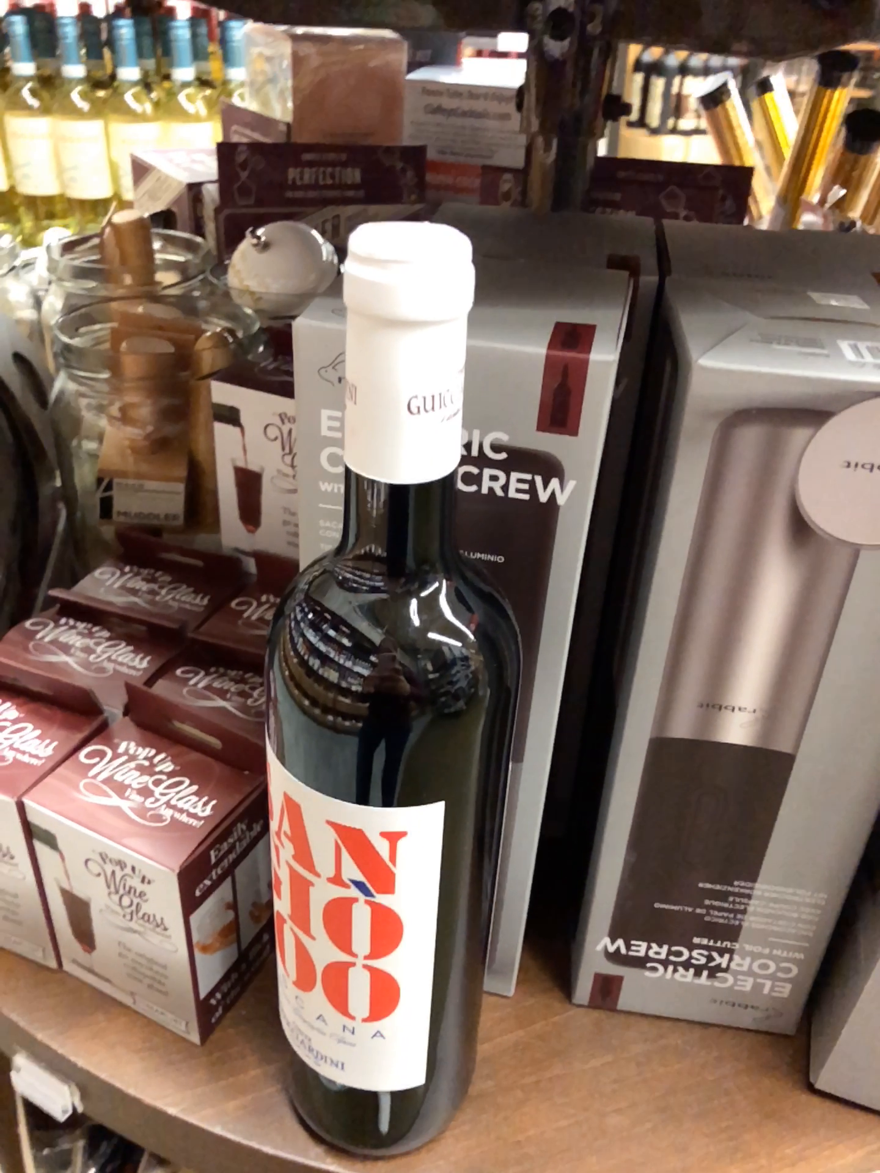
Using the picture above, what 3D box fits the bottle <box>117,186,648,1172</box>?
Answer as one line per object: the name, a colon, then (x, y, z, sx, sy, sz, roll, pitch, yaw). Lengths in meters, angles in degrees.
bottle: (-0.014, 0.056, 0.291, 0.083, 0.309, 0.080, 1, 32, -1)
